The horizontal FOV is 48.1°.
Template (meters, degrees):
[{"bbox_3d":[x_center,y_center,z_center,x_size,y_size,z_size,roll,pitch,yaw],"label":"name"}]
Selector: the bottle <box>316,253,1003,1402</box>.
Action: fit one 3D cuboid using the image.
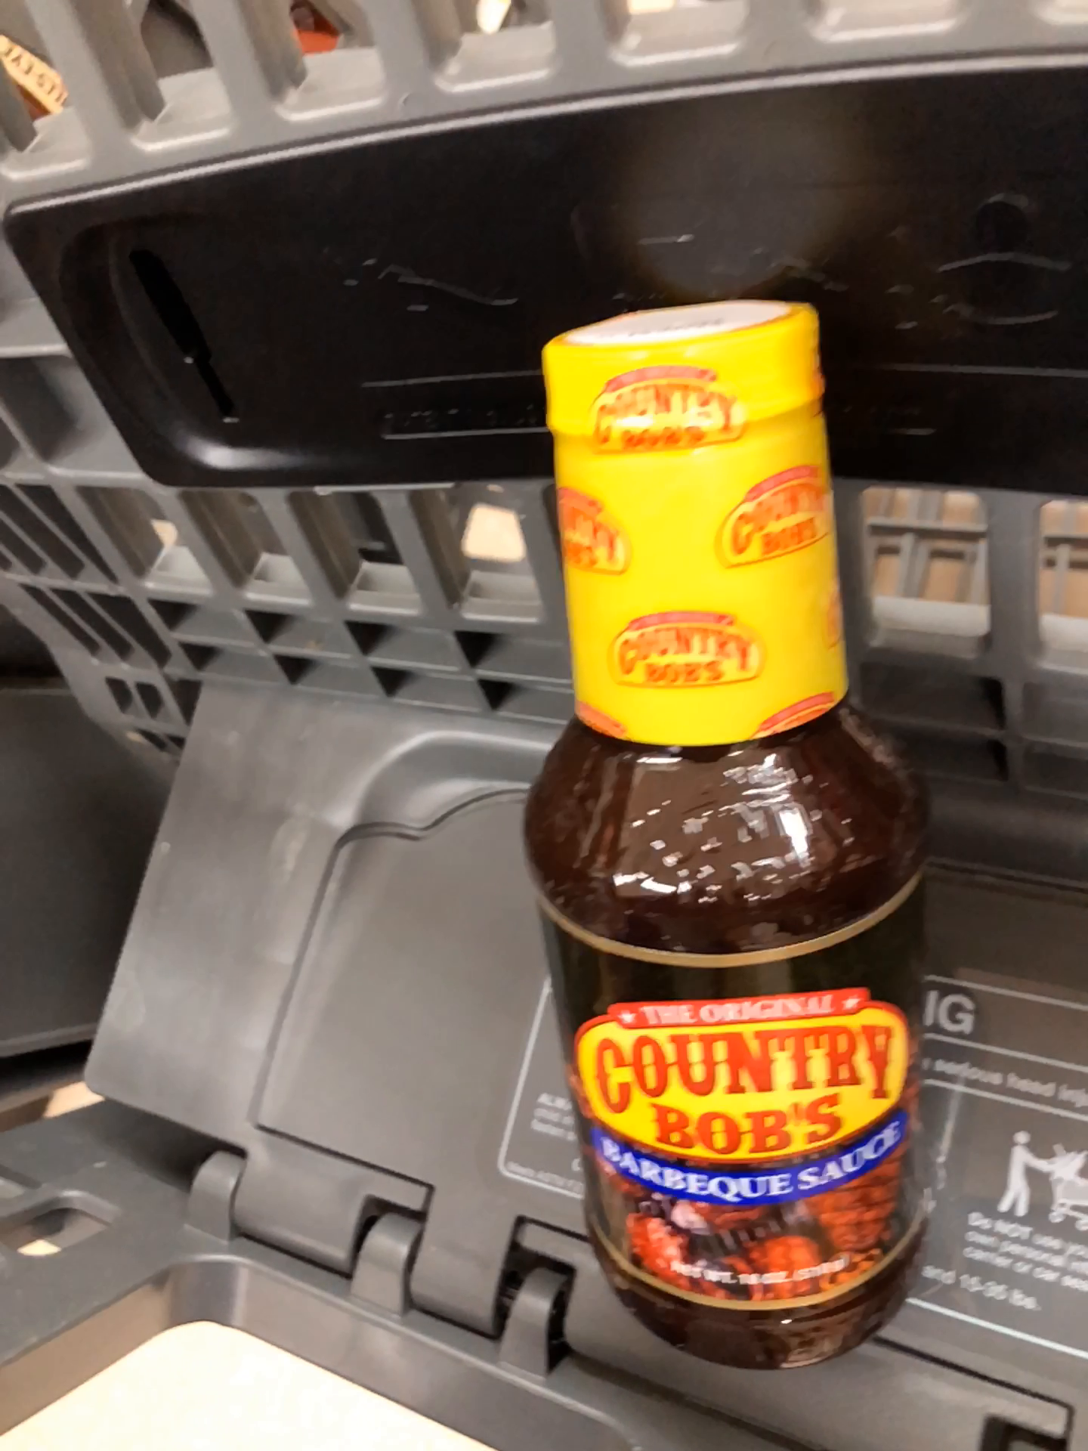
[{"bbox_3d":[0.027,0.015,0.209,0.080,0.080,0.170,0,113,13],"label":"bottle"}]
